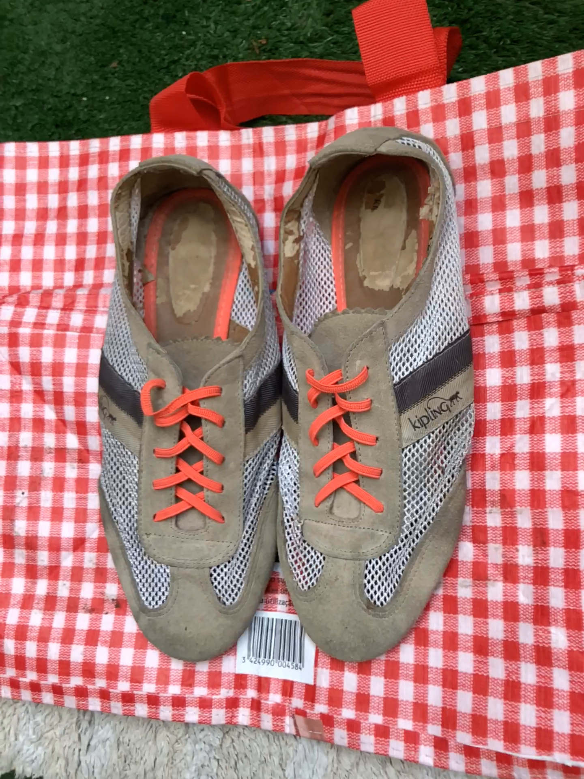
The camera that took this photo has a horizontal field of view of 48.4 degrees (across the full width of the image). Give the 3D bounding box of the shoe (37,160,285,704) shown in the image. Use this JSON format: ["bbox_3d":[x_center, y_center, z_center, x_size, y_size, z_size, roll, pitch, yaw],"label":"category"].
[{"bbox_3d":[-0.058,0.019,0.316,0.100,0.050,0.240,-2,91,0],"label":"shoe"}]

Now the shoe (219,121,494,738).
[{"bbox_3d":[0.028,0.016,0.289,0.100,0.050,0.230,-1,93,33],"label":"shoe"}]
